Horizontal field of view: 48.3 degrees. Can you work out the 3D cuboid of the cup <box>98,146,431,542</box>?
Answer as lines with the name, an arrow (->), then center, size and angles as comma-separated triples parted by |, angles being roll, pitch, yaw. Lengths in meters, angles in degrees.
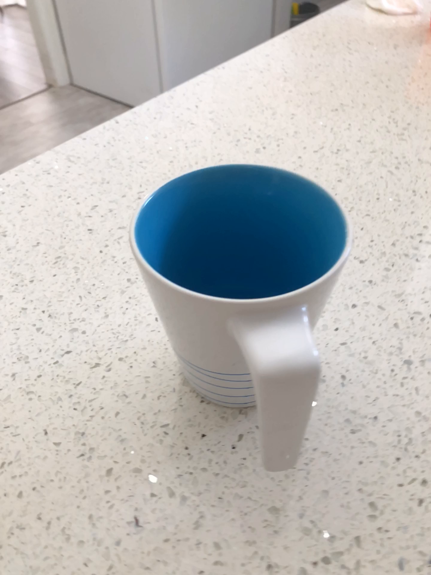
cup -> 0.014, 0.016, 0.206 | 0.080, 0.090, 0.120 | -20, 47, -17
